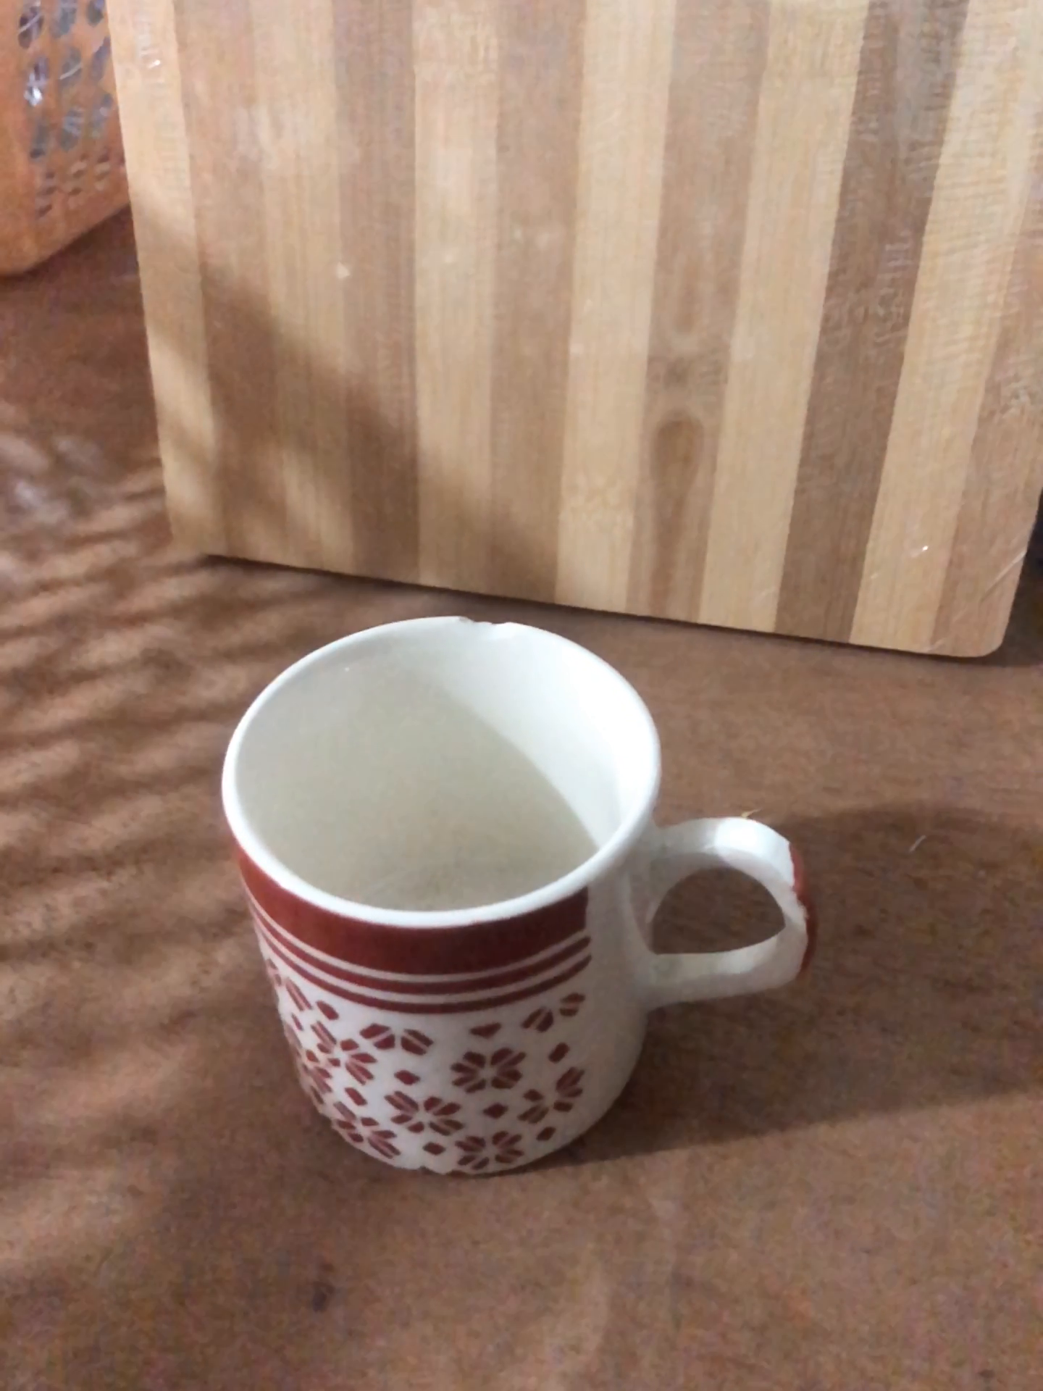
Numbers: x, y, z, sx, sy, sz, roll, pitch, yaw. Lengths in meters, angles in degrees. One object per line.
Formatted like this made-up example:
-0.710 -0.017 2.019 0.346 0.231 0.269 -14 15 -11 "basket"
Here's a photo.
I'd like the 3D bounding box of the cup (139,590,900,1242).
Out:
0.003 0.035 0.186 0.090 0.080 0.060 2 41 7 "cup"
